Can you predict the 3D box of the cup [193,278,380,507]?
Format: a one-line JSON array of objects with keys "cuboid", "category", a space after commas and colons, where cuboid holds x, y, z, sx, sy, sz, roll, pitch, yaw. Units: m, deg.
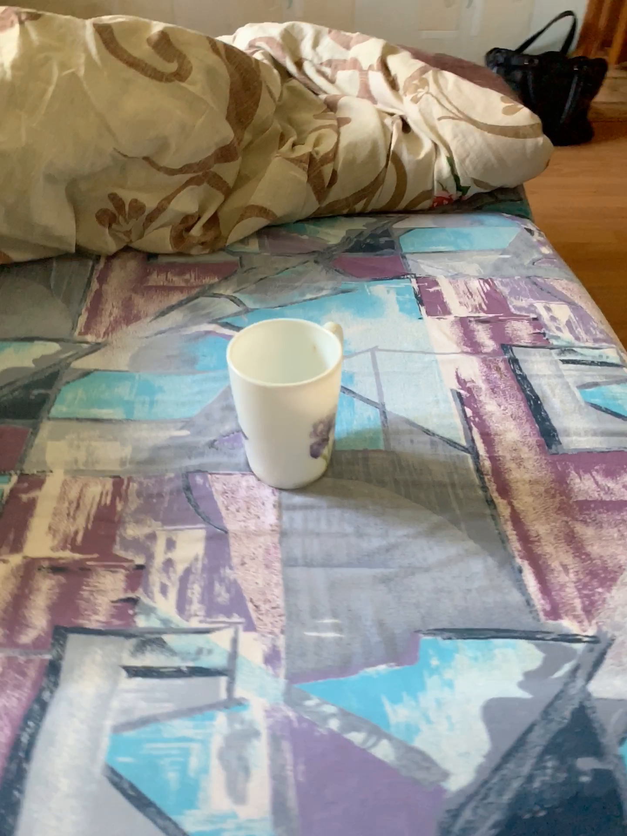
[{"cuboid": [-0.015, -0.022, 0.471, 0.080, 0.099, 0.121, 19, 45, 19], "category": "cup"}]
